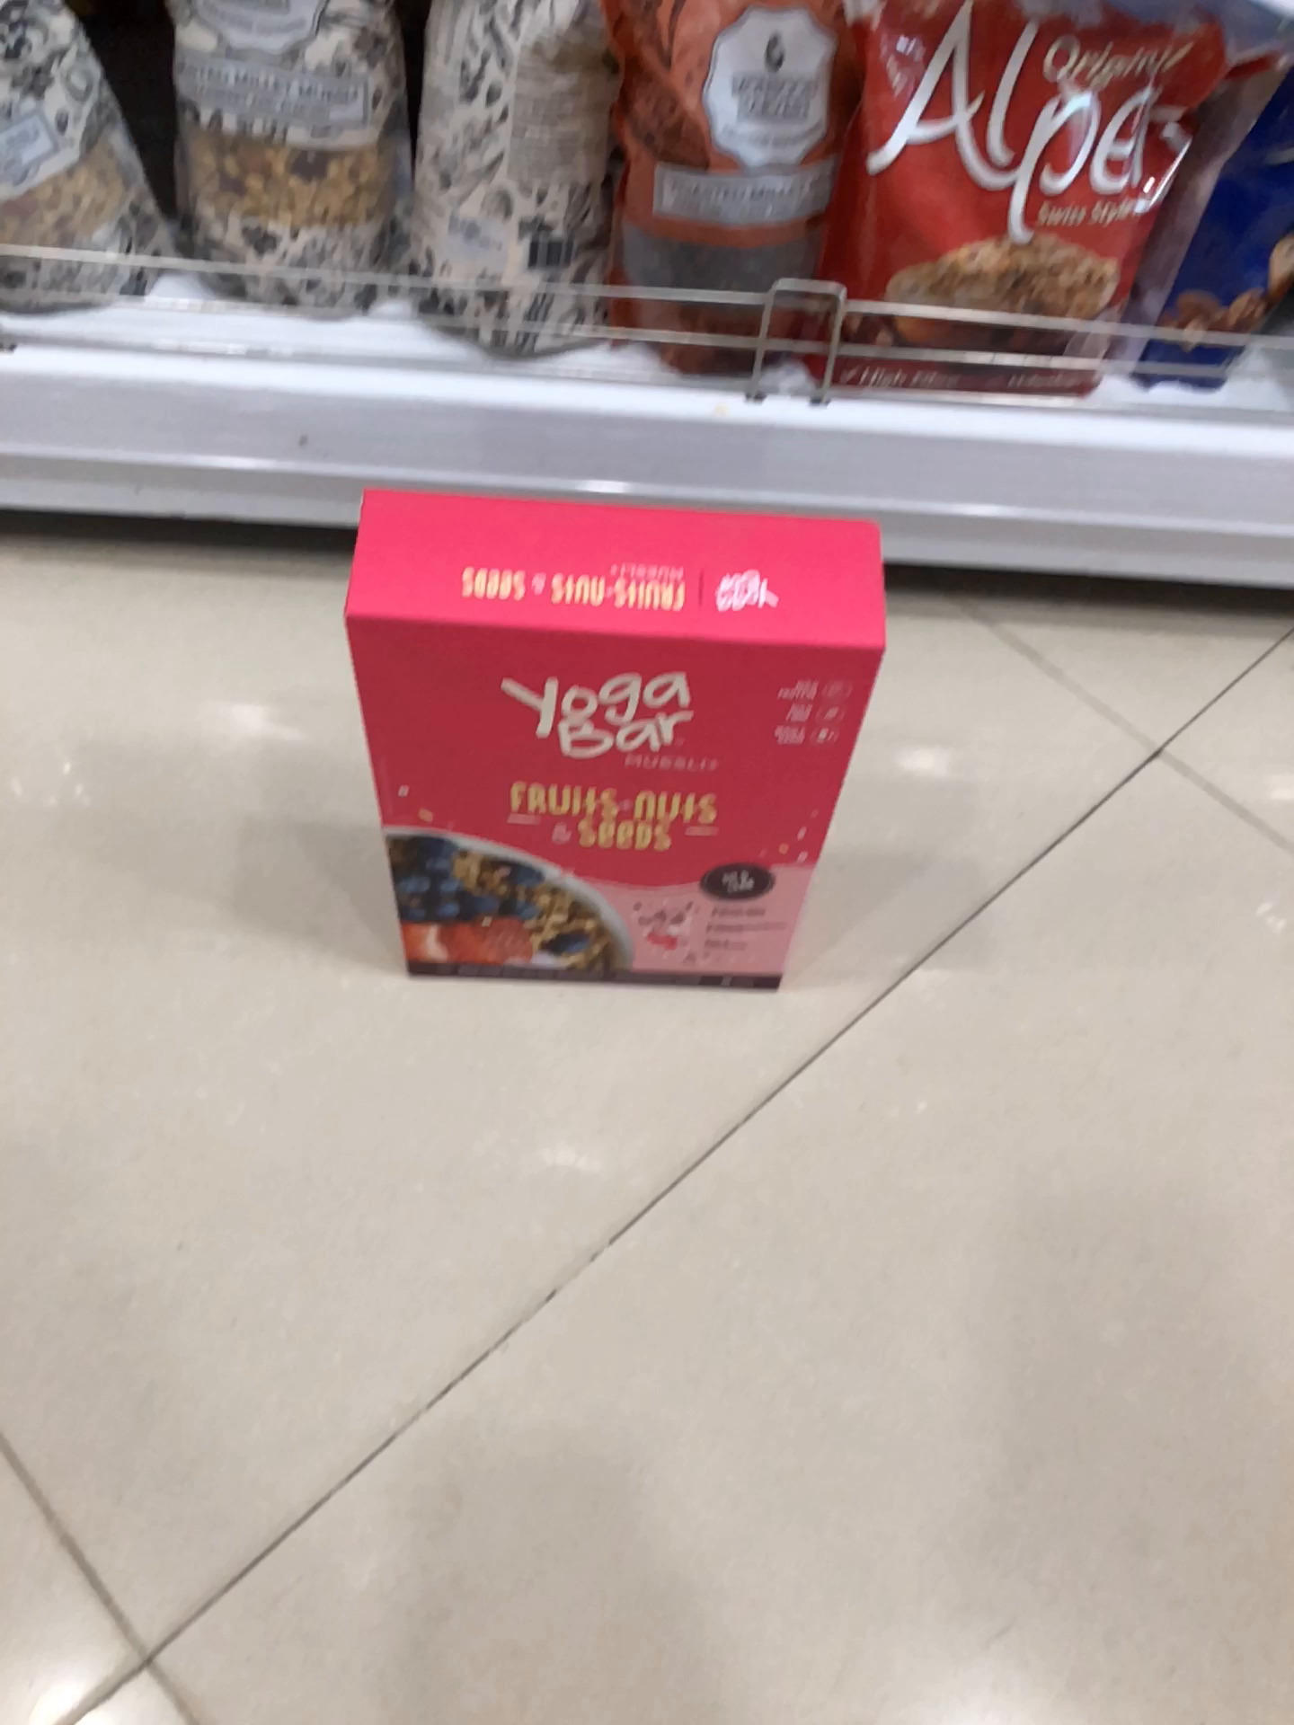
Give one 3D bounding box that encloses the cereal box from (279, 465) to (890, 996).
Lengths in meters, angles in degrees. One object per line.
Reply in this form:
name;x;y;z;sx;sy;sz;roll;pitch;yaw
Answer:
cereal box;-0.023;-0.031;0.511;0.170;0.229;0.060;1;58;-3
